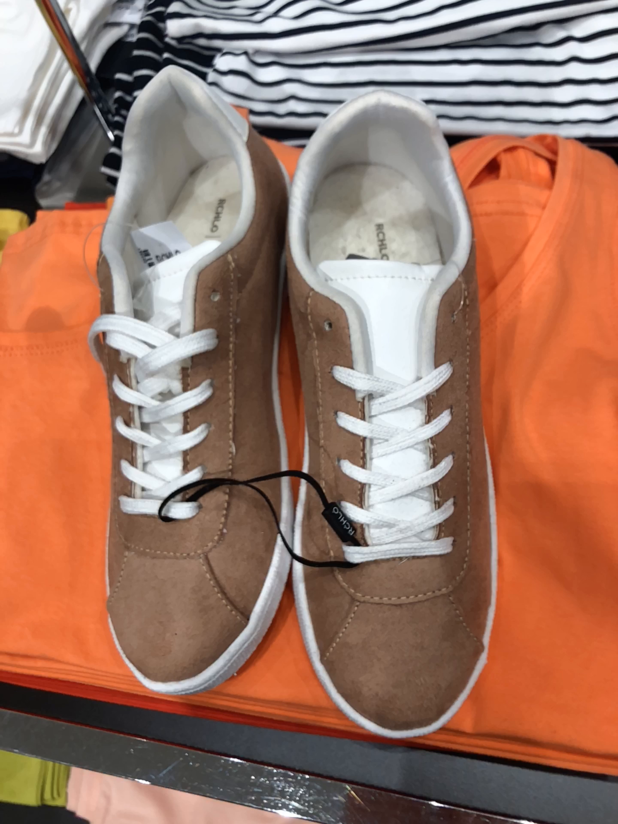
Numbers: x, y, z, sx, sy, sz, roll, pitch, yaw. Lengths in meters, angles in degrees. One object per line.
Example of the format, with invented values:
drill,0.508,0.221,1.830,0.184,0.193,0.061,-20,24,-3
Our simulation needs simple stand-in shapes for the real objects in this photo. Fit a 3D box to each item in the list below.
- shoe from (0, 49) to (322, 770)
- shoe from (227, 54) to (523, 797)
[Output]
shoe,-0.052,-0.004,0.292,0.090,0.100,0.250,0,79,11
shoe,0.026,0.002,0.285,0.090,0.100,0.250,-3,78,10
